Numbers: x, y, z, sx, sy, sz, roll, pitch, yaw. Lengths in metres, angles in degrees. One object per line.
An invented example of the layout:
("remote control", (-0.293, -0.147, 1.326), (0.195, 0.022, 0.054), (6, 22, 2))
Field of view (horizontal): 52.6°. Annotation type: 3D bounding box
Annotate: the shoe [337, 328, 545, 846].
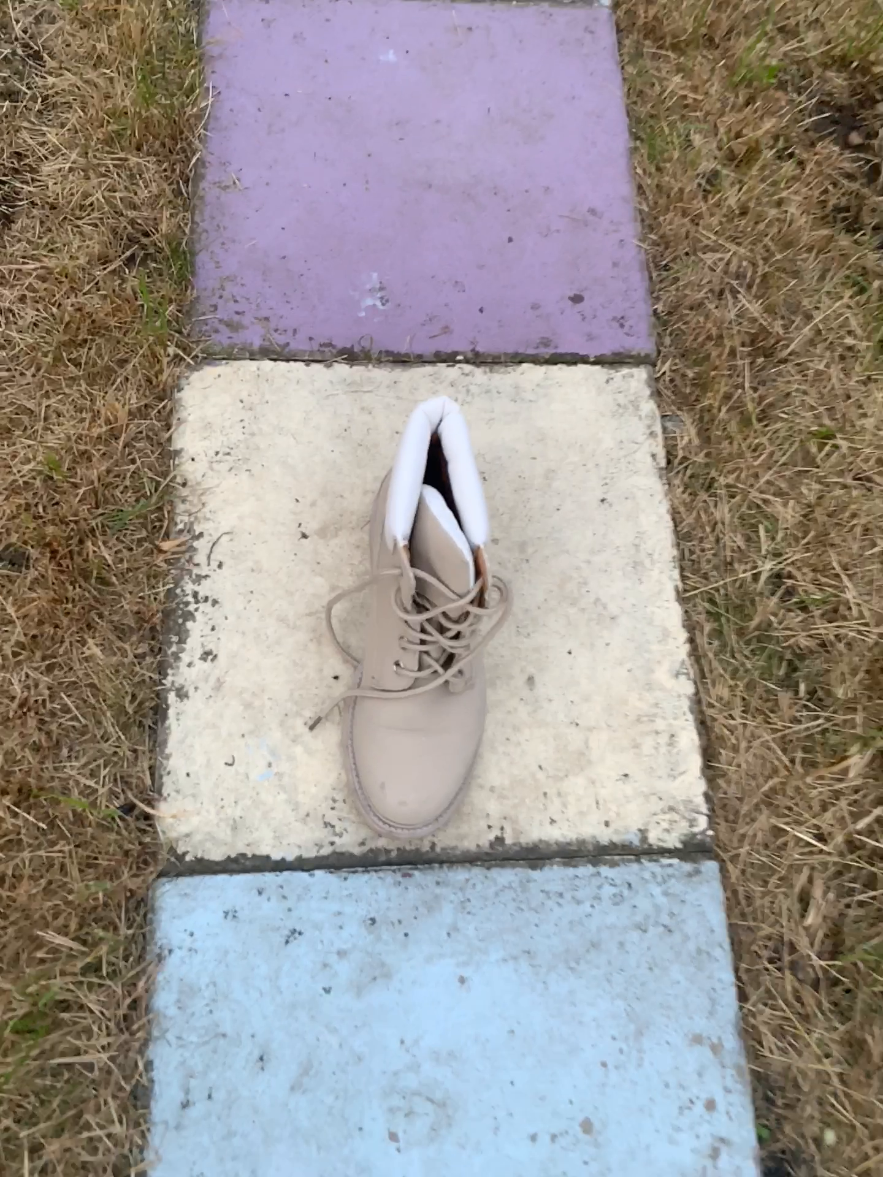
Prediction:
("shoe", (-0.005, 0.014, 0.579), (0.100, 0.199, 0.281), (5, 71, -6))
